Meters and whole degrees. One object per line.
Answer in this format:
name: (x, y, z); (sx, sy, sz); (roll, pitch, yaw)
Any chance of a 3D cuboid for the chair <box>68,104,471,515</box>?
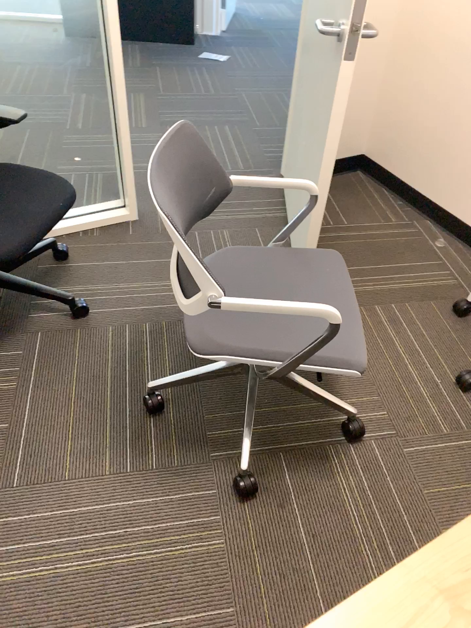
chair: (0.081, -0.026, 1.366); (0.730, 0.766, 0.805); (5, 43, 0)
